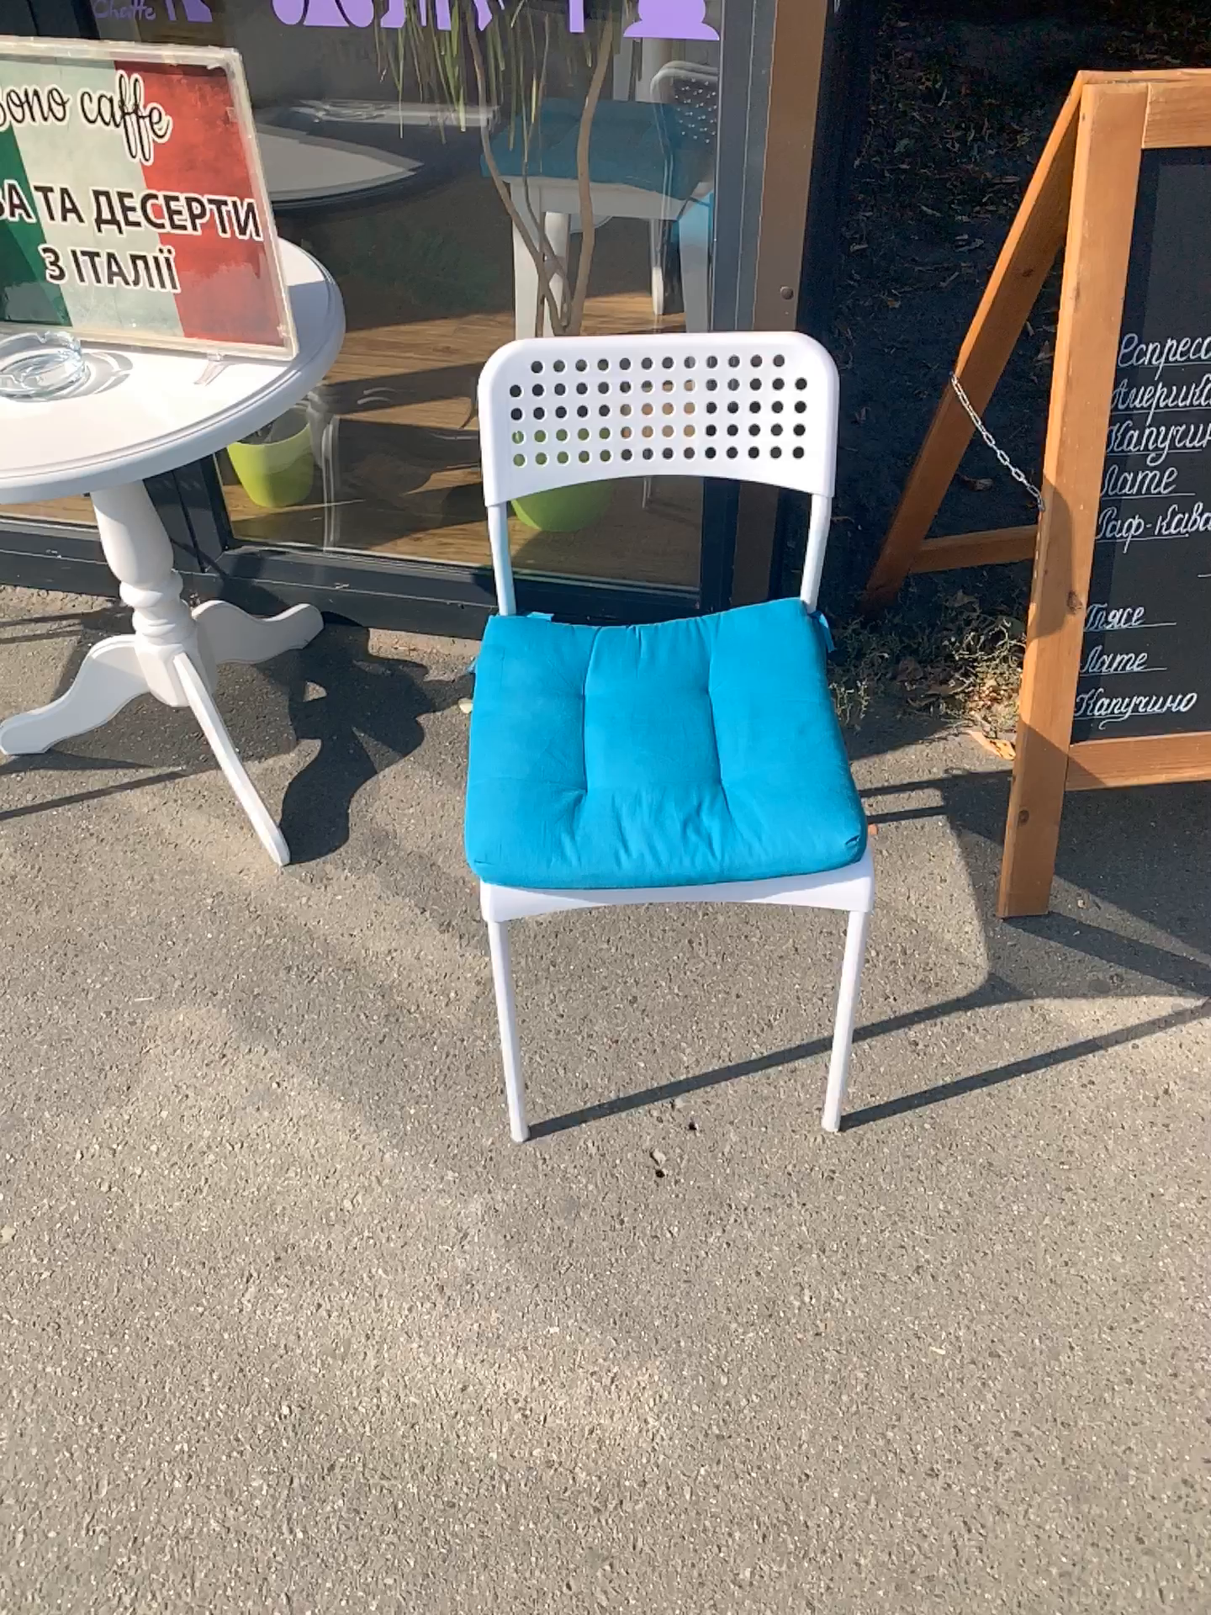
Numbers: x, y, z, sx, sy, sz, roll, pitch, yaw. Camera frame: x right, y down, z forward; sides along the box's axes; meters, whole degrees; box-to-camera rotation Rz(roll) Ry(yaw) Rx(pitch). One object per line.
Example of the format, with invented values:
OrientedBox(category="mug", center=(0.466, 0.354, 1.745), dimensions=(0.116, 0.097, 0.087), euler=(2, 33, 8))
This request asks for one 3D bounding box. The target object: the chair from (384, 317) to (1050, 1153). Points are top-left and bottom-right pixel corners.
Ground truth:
OrientedBox(category="chair", center=(0.076, -0.058, 1.325), dimensions=(0.480, 0.697, 0.542), euler=(-2, 46, -1))
